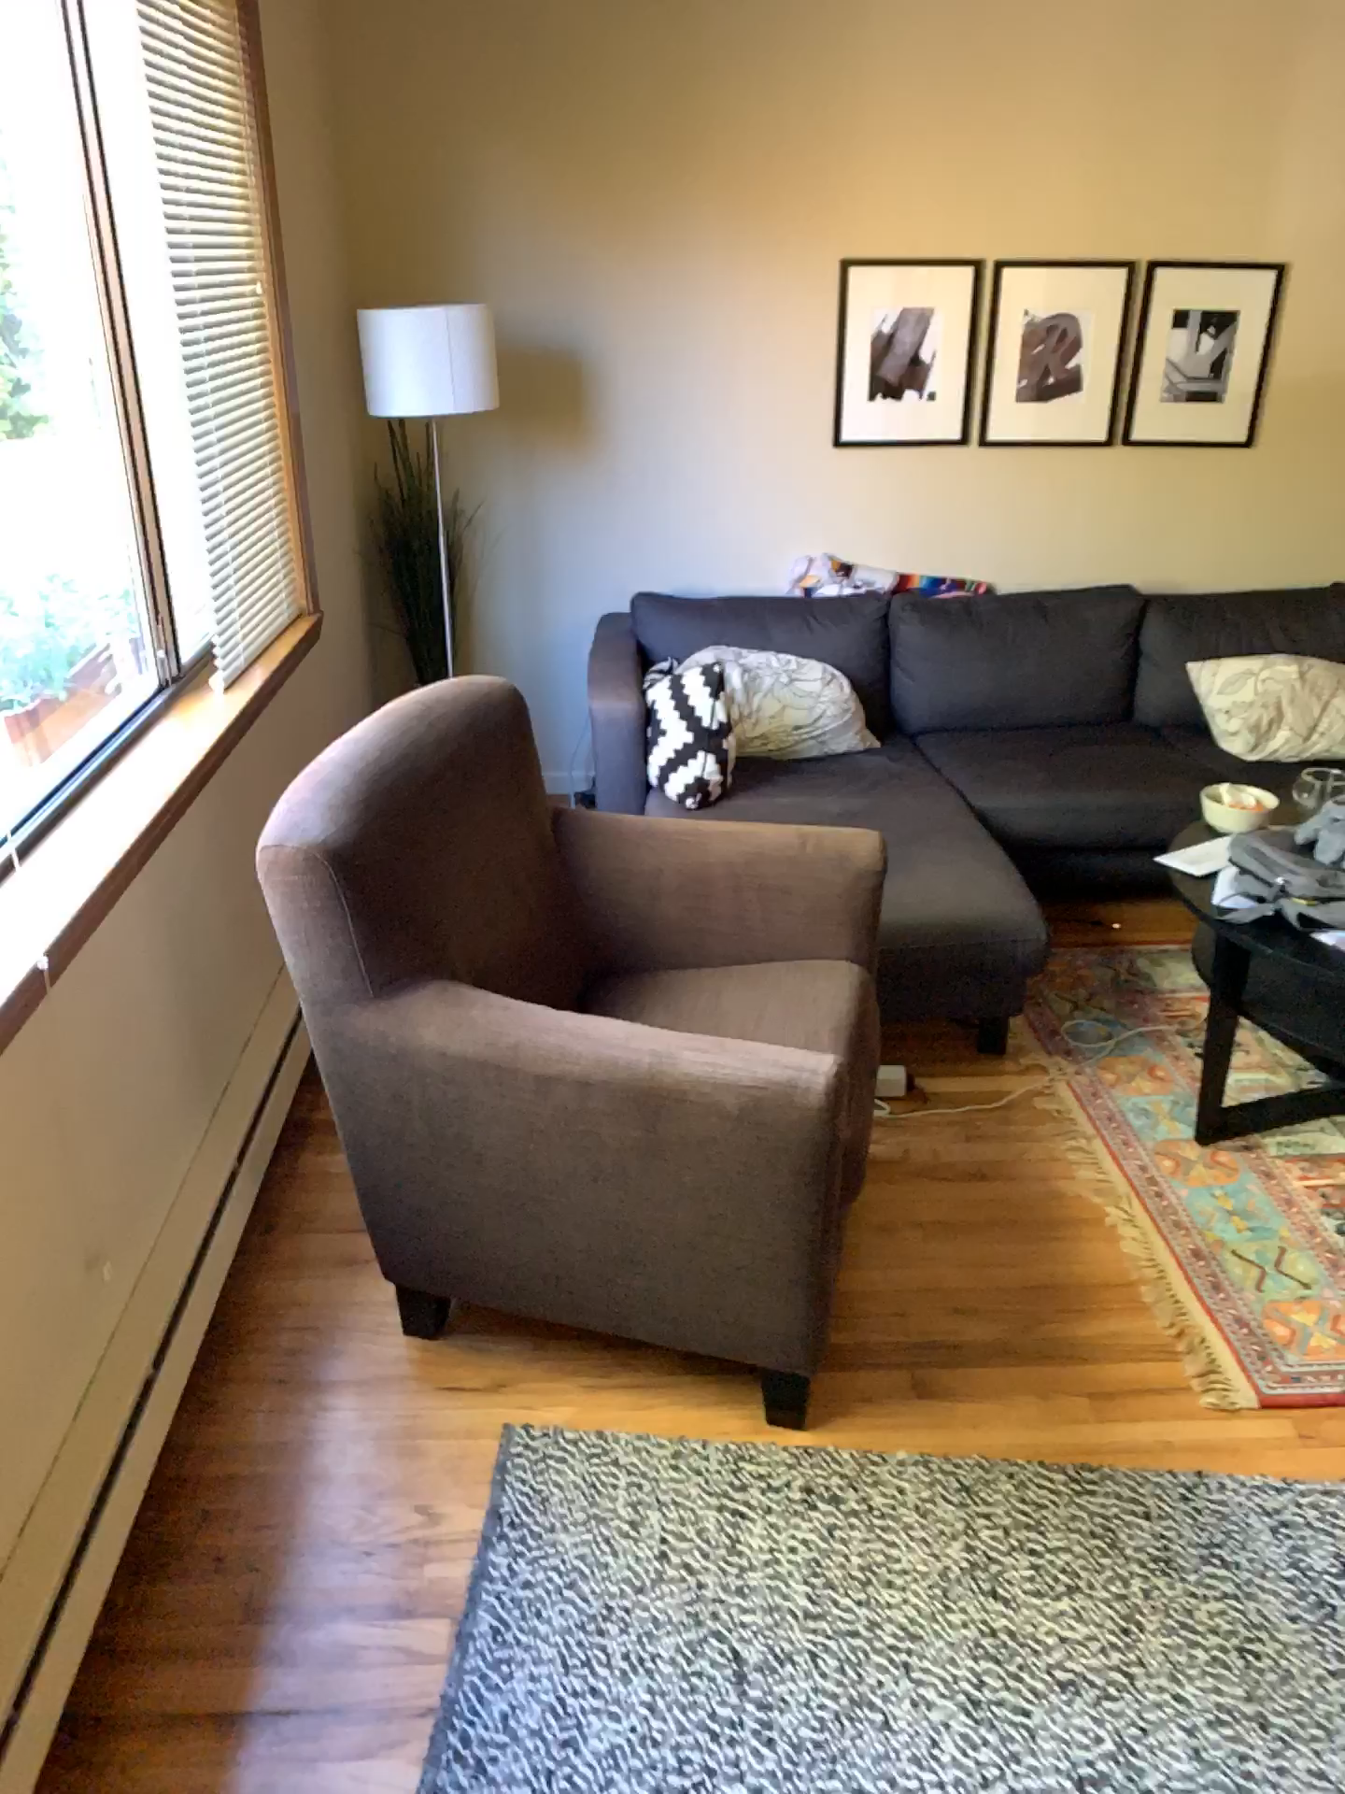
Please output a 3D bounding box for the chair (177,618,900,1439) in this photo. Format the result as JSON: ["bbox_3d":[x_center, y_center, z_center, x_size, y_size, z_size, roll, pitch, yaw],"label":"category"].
[{"bbox_3d":[-0.083,0.114,2.101,0.800,0.875,0.884,2,24,11],"label":"chair"}]
